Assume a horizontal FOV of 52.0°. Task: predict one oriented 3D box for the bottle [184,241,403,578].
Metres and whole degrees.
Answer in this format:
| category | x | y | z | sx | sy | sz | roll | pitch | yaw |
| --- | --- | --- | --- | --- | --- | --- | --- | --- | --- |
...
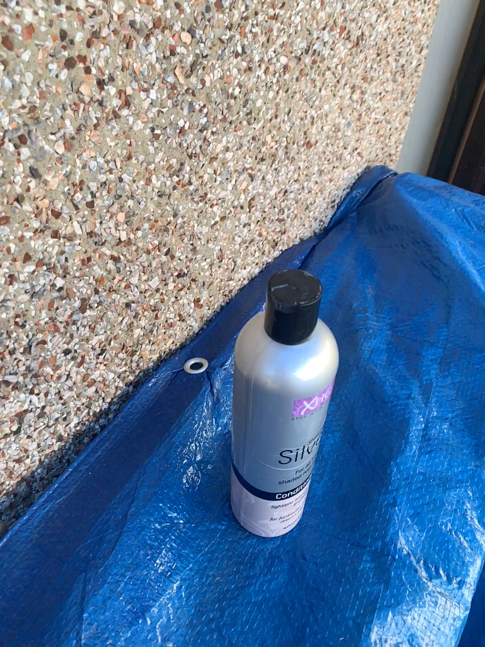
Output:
| category | x | y | z | sx | sy | sz | roll | pitch | yaw |
| --- | --- | --- | --- | --- | --- | --- | --- | --- | --- |
| bottle | 0.019 | 0.062 | 0.281 | 0.070 | 0.198 | 0.060 | -30 | 54 | -27 |
